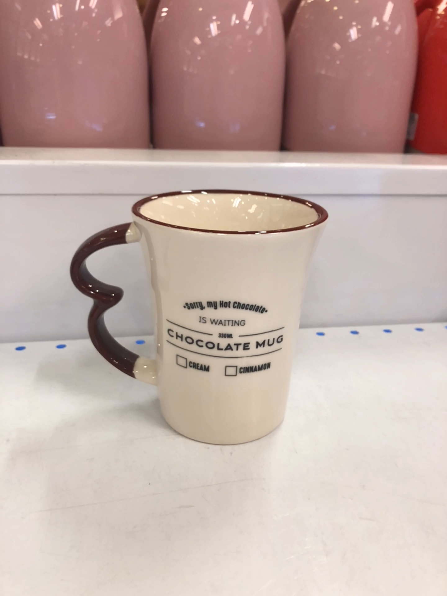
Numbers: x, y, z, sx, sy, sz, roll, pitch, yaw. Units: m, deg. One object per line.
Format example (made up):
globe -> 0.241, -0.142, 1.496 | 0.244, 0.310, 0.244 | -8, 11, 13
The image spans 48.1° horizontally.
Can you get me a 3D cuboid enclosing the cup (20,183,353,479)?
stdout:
cup -> -0.018, 0.009, 0.242 | 0.120, 0.109, 0.091 | -1, 22, -7
